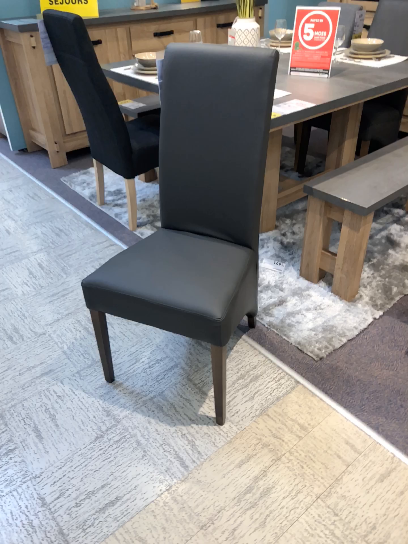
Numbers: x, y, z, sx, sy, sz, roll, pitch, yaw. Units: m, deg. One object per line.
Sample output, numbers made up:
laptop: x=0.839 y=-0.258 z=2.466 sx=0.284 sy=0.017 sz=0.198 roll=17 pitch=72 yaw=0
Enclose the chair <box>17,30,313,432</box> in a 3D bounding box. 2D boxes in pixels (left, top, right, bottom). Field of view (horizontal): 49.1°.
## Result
chair: x=-0.044 y=-0.134 z=1.388 sx=0.520 sy=1.014 sz=0.574 roll=13 pitch=37 yaw=20
